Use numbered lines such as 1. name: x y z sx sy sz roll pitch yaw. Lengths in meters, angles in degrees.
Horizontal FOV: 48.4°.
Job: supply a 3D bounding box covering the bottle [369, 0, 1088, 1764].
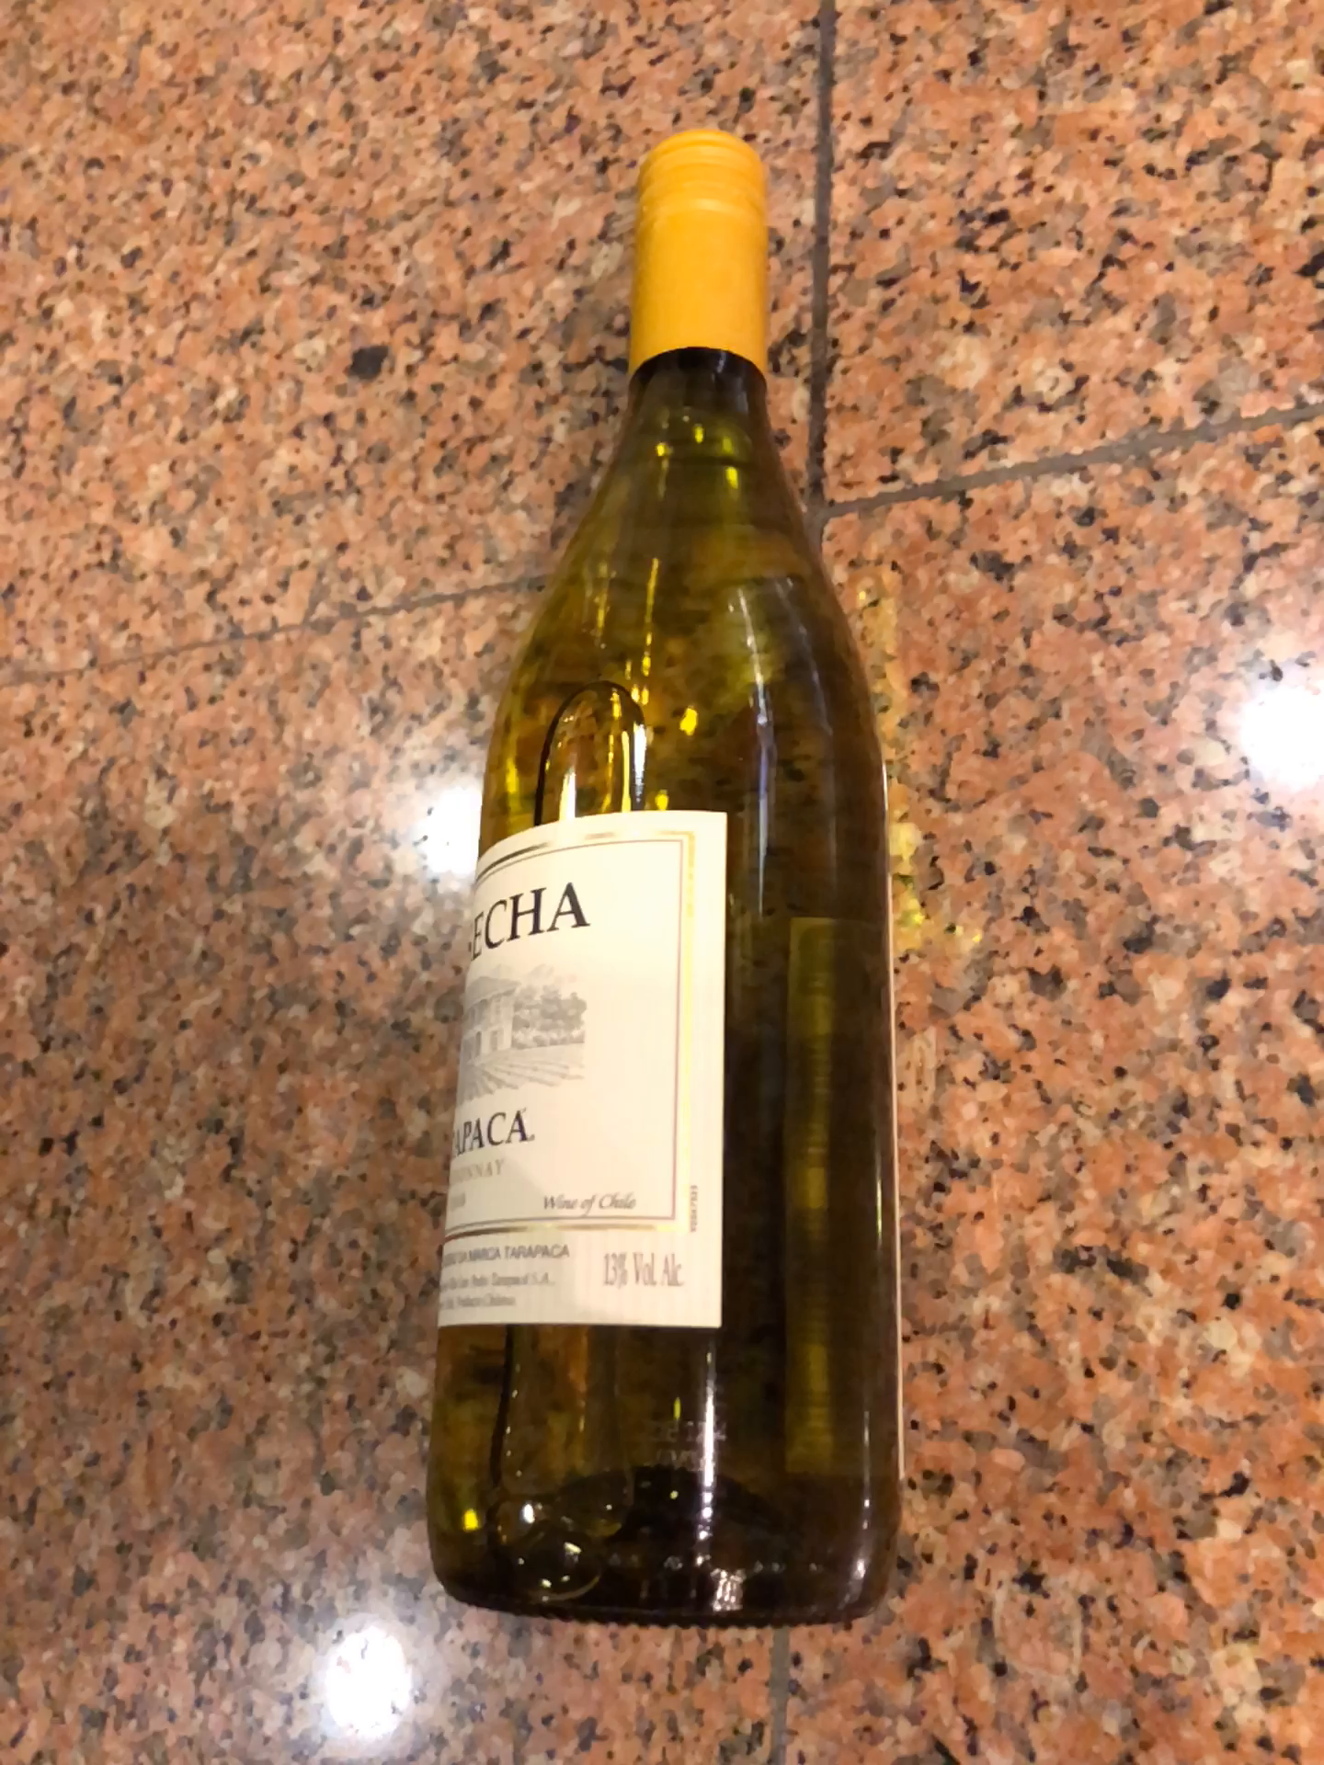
1. bottle: 0.018 -0.031 0.284 0.090 0.070 0.341 -8 68 25
